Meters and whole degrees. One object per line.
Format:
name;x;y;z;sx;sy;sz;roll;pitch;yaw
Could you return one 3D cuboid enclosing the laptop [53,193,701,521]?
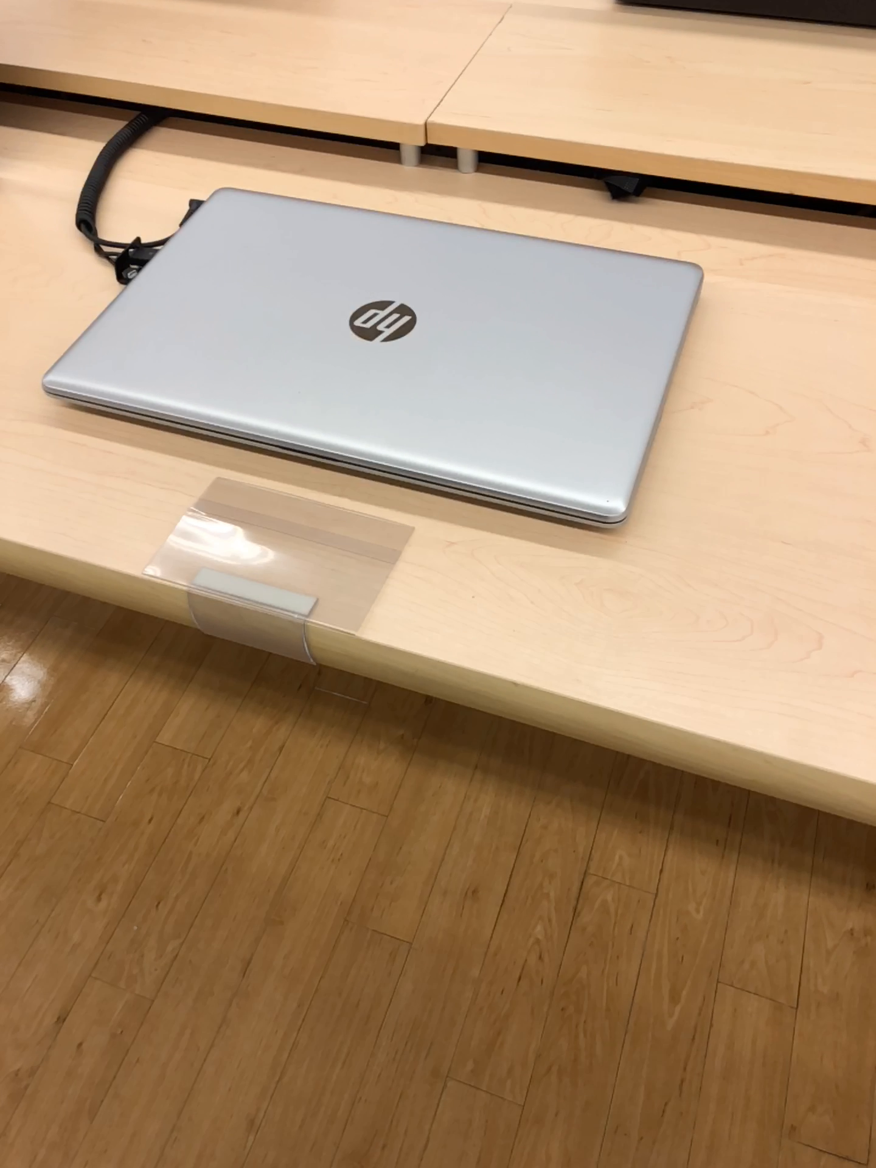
laptop;-0.035;-0.183;0.686;0.397;0.001;0.258;15;54;14
